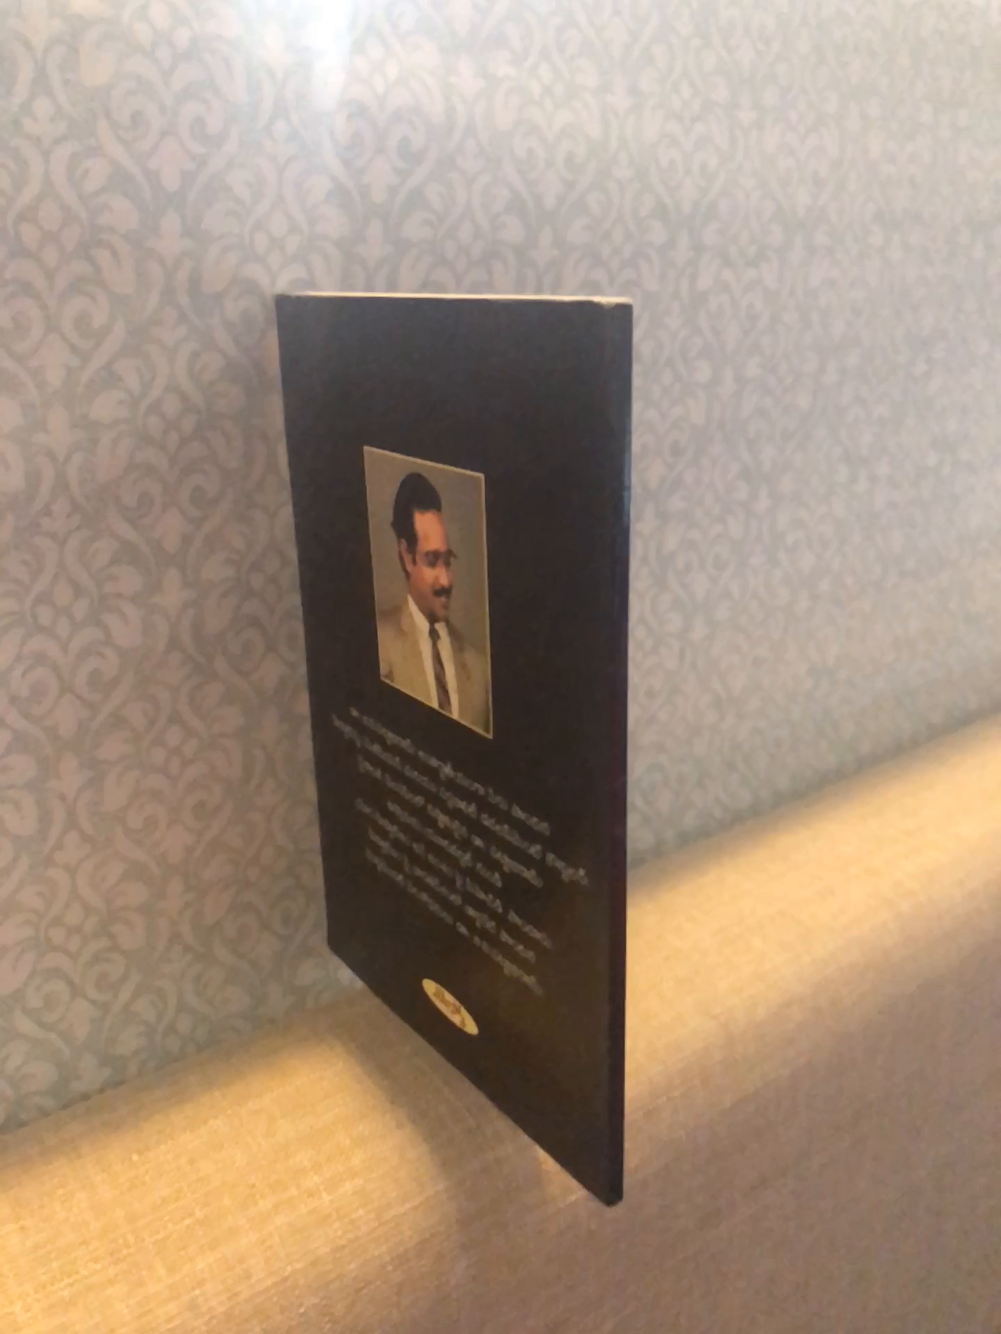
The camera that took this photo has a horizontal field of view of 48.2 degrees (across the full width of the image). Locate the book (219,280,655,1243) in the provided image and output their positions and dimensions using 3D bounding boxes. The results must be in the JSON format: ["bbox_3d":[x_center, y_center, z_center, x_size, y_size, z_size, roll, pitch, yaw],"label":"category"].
[{"bbox_3d":[-0.017,0.012,0.239,0.011,0.175,0.127,-16,22,-36],"label":"book"}]
